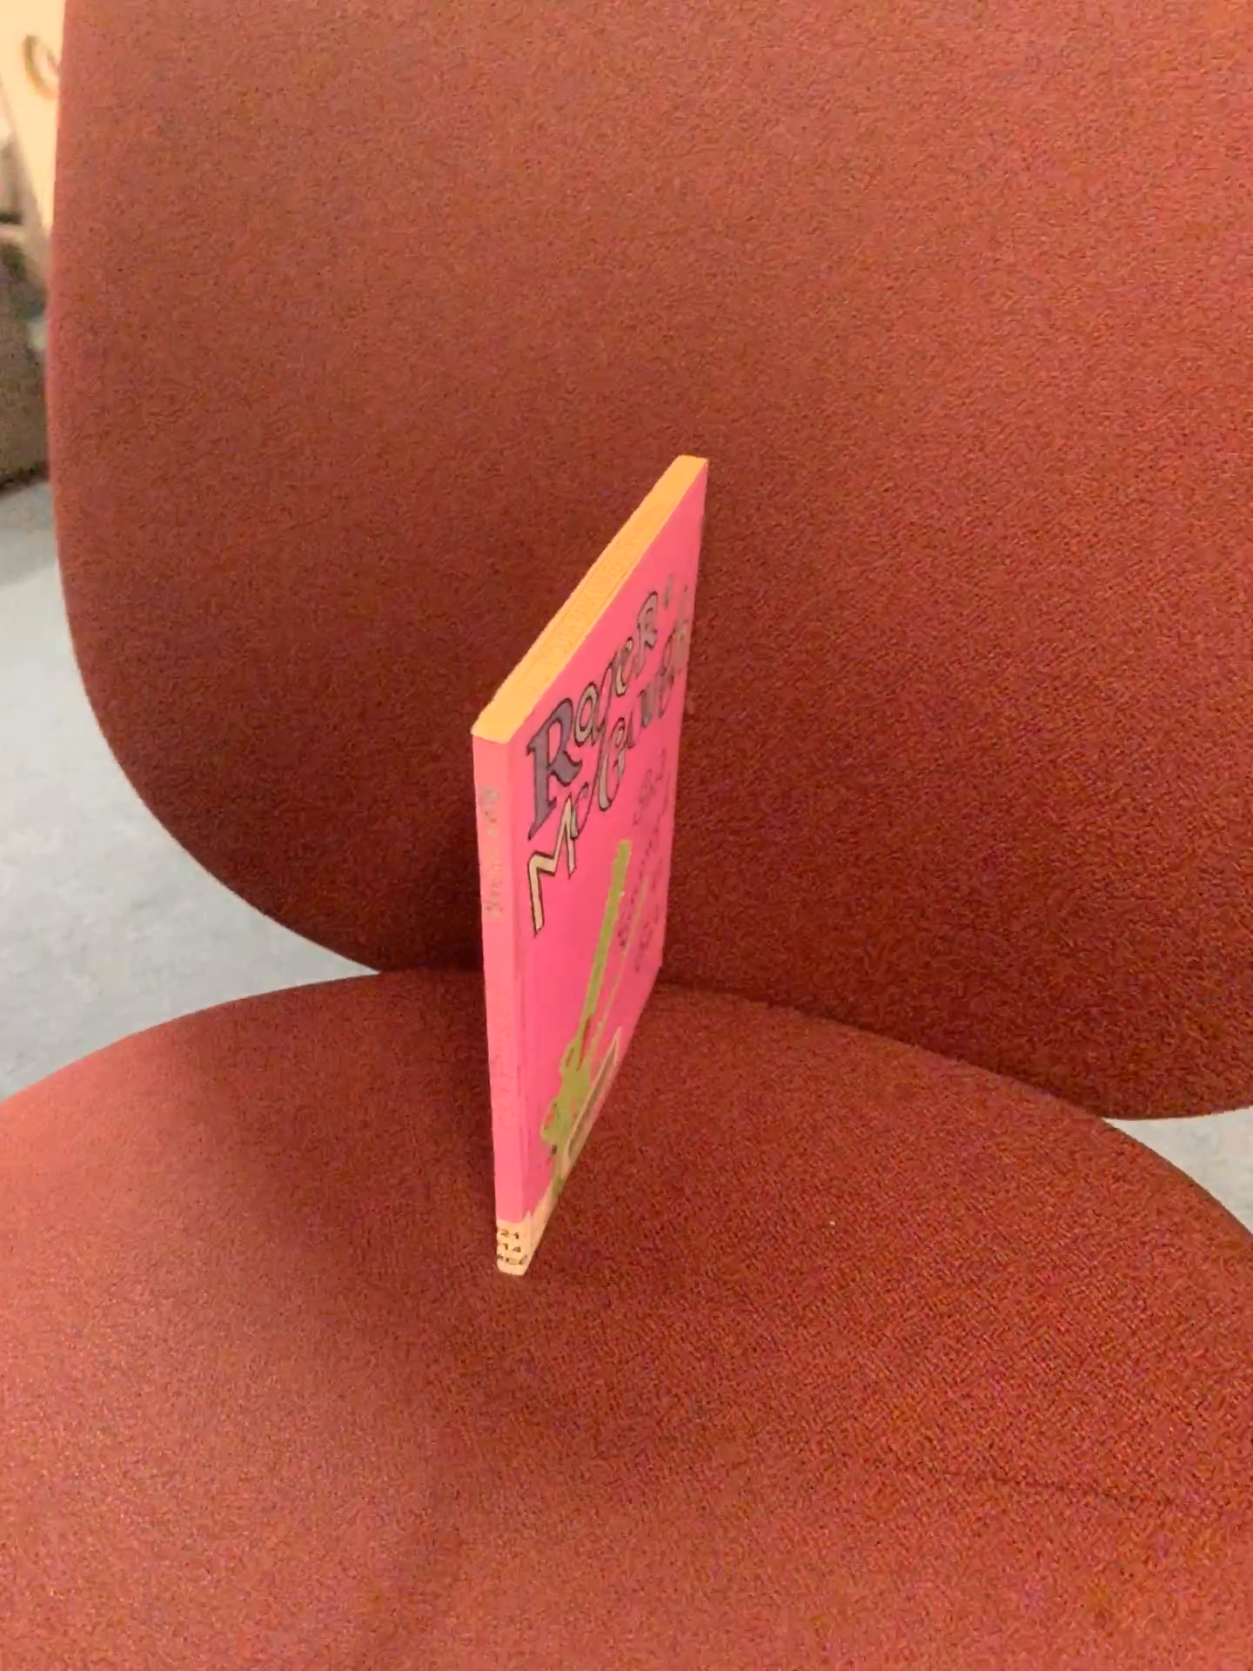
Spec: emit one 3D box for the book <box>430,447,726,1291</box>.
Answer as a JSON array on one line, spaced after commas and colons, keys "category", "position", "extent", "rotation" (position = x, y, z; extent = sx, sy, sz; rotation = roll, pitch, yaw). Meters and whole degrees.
[{"category": "book", "position": [-0.010, 0.011, 0.357], "extent": [0.017, 0.189, 0.142], "rotation": [15, 41, 14]}]
